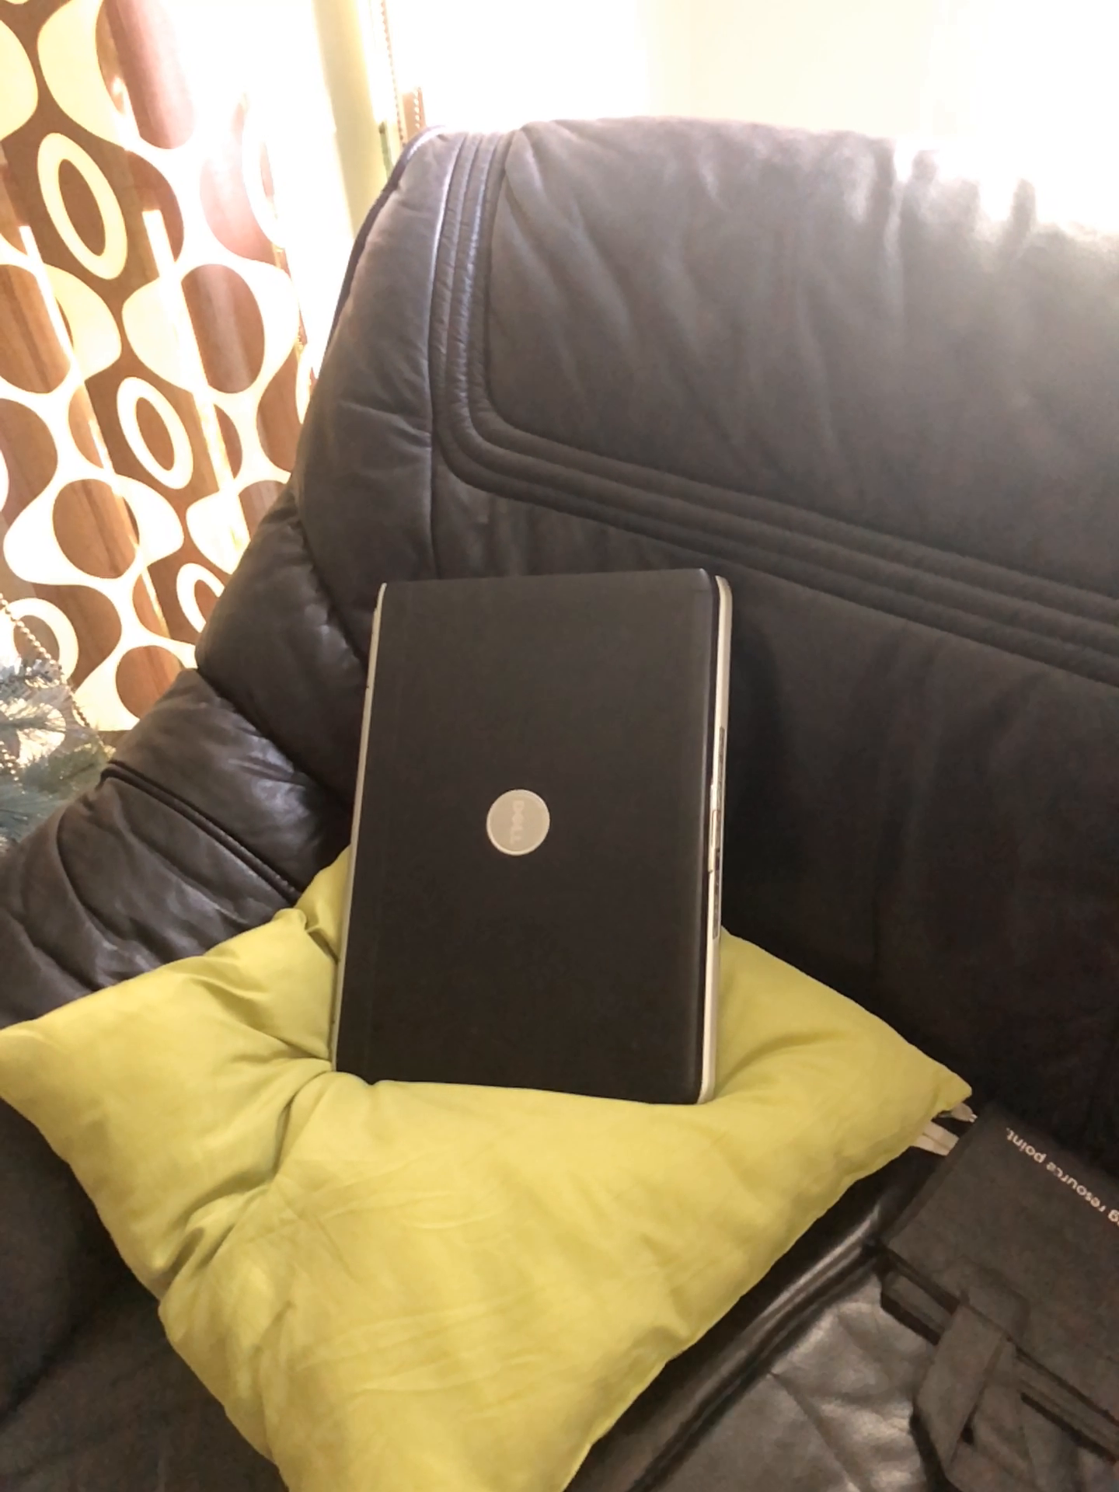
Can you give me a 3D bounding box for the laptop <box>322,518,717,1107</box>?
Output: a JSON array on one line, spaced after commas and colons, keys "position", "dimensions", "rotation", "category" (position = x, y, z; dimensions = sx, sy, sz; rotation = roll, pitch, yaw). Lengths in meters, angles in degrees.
[{"position": [-0.026, 0.036, 0.809], "dimensions": [0.247, 0.033, 0.345], "rotation": [0, 77, 19], "category": "laptop"}]
